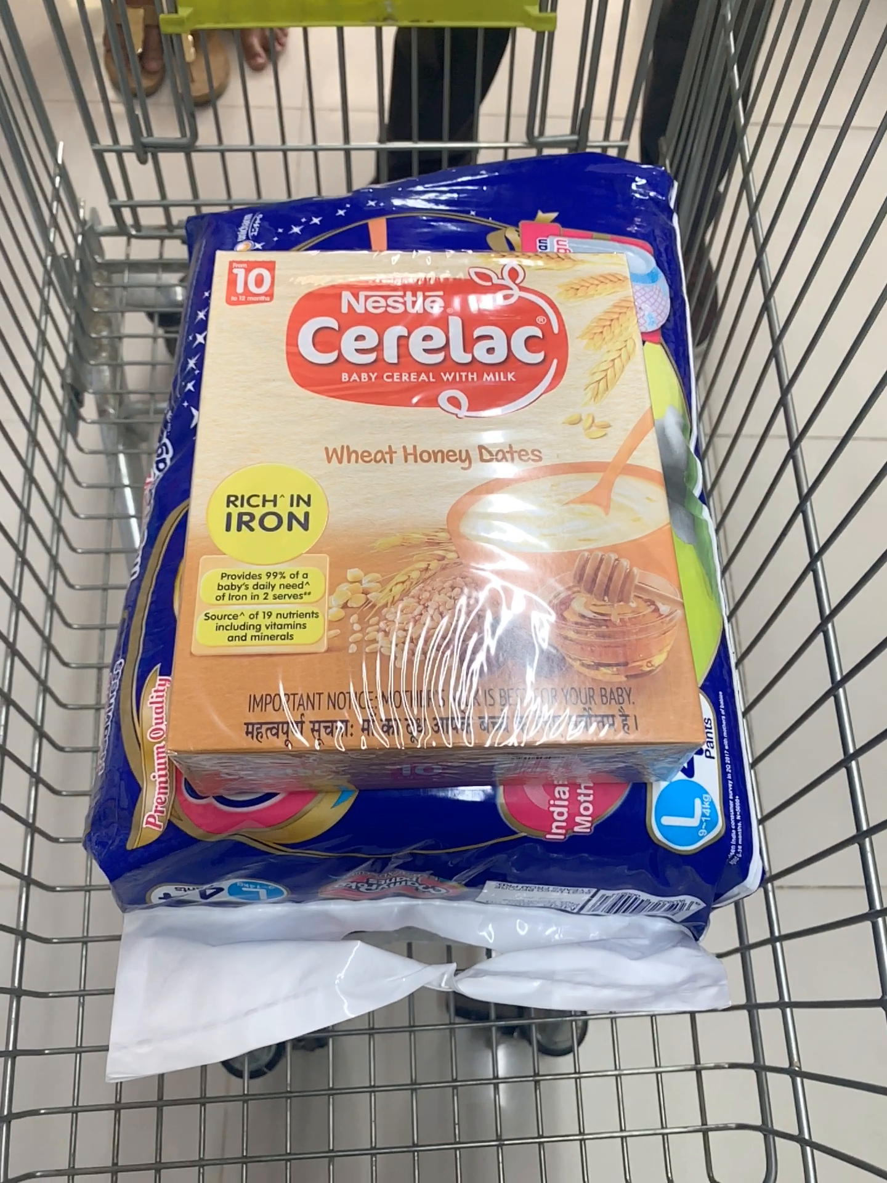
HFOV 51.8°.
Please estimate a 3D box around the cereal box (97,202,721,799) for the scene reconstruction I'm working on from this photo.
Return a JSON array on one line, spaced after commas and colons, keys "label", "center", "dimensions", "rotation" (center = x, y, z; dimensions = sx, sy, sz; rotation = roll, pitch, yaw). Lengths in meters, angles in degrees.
[{"label": "cereal box", "center": [-0.012, -0.036, 0.302], "dimensions": [0.160, 0.060, 0.190], "rotation": [-1, 65, -3]}]
